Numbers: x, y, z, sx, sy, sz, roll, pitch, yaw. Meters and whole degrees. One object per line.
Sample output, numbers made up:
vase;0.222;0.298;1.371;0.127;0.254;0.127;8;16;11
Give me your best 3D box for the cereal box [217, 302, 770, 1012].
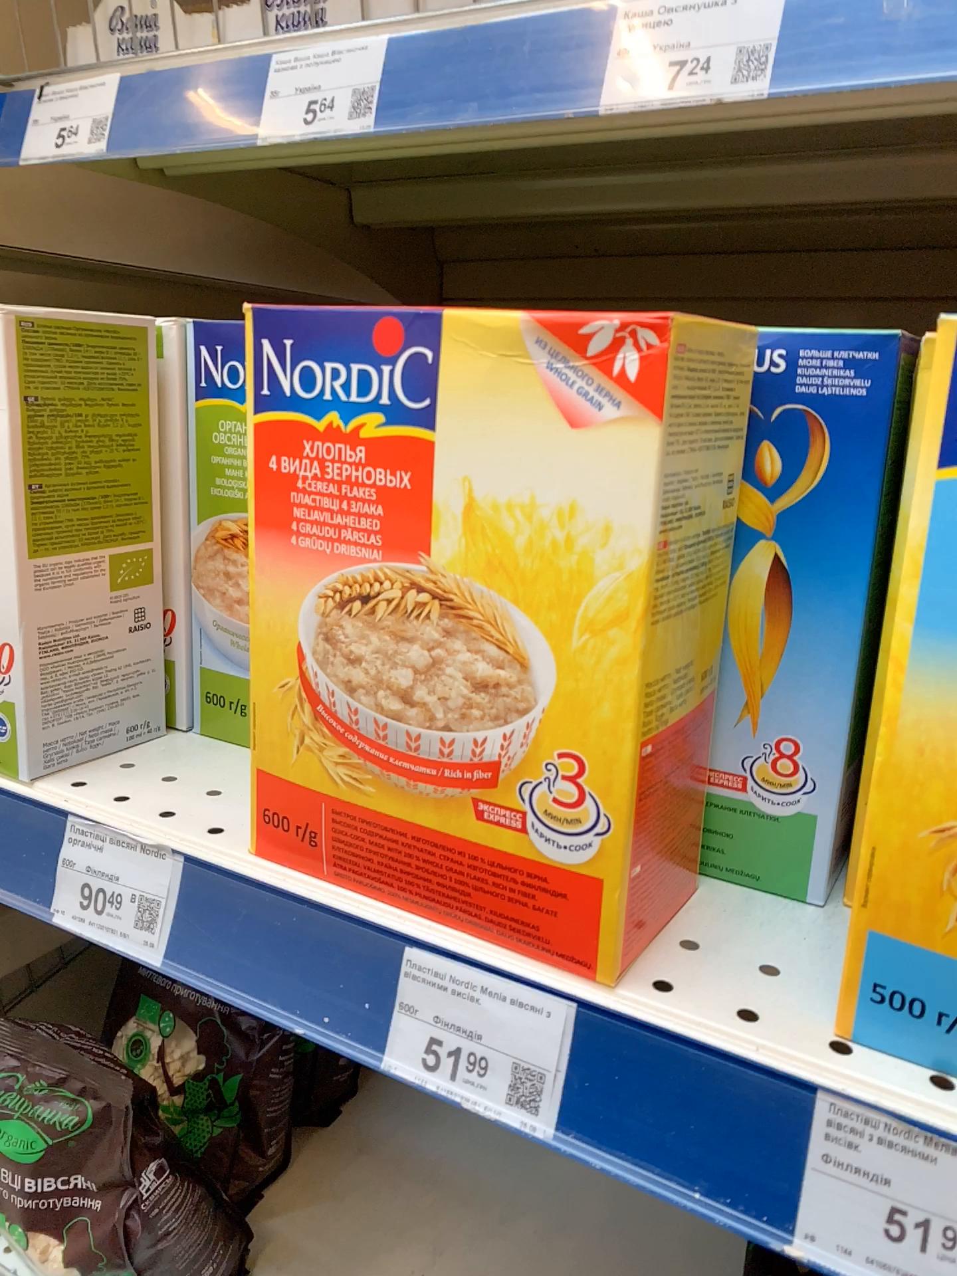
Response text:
cereal box;-0.001;-0.008;0.325;0.150;0.189;0.080;11;16;31
